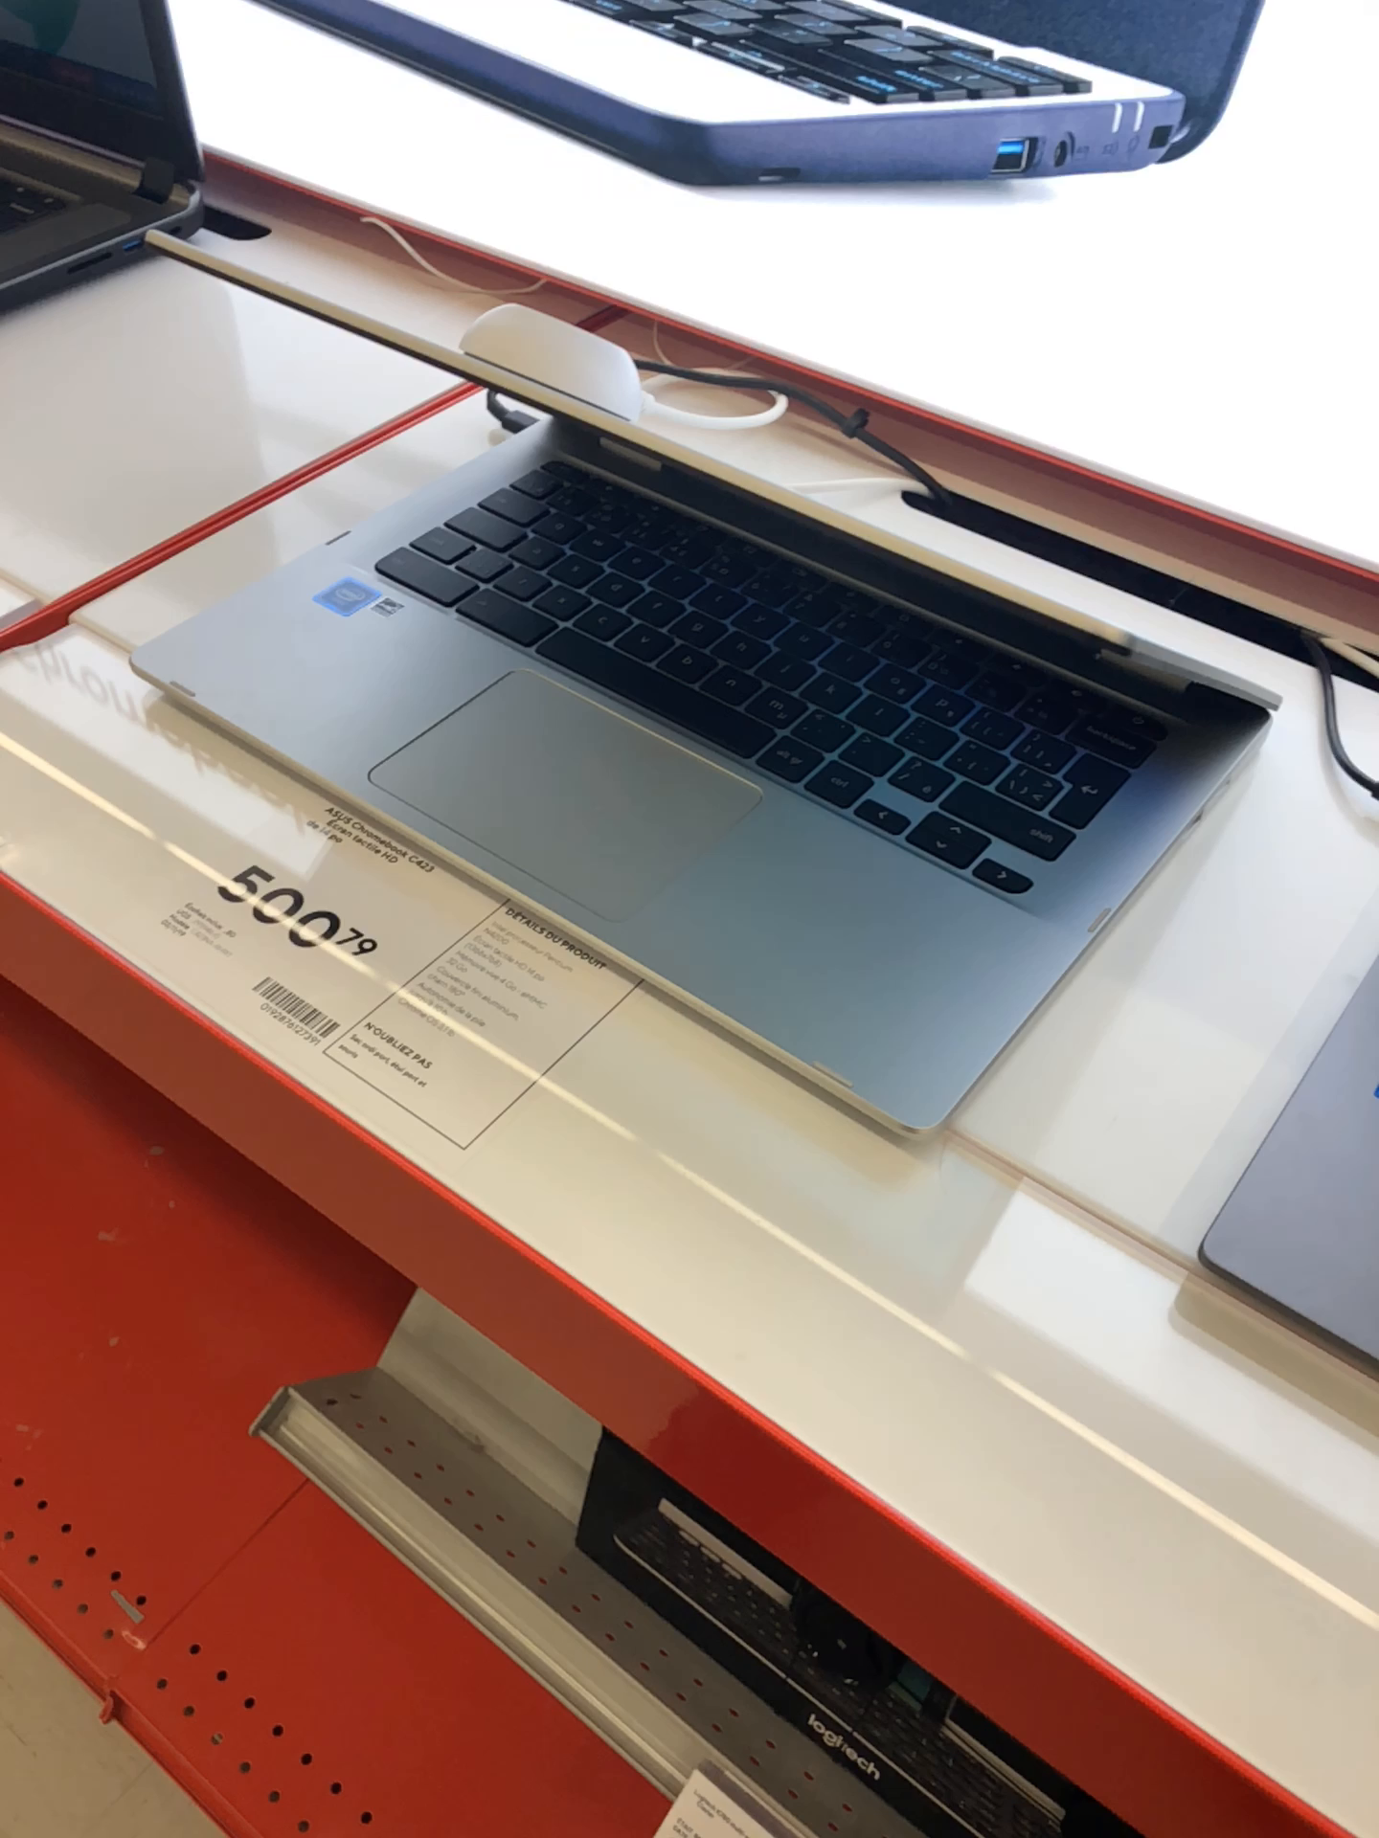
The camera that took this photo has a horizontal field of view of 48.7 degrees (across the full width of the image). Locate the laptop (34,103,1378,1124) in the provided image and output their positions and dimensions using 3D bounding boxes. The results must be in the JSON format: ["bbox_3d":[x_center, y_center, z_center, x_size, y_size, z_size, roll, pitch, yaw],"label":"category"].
[{"bbox_3d":[0.002,-0.121,0.468,0.312,0.119,0.213,30,52,24],"label":"laptop"}]
